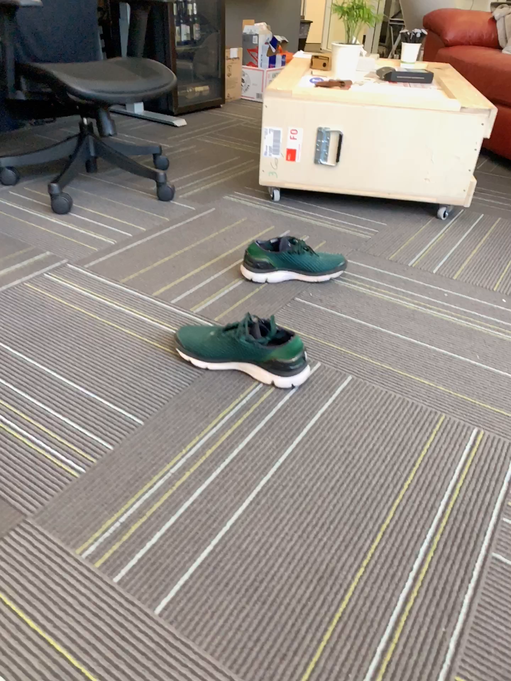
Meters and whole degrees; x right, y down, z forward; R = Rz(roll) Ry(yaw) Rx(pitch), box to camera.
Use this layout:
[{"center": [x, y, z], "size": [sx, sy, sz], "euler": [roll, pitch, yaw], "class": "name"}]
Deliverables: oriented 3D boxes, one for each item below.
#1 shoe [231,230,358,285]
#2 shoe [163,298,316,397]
[{"center": [0.101, -0.231, 1.424], "size": [0.320, 0.099, 0.121], "euler": [-3, 35, -9], "class": "shoe"}, {"center": [-0.036, 0.010, 1.095], "size": [0.300, 0.099, 0.100], "euler": [15, 36, 16], "class": "shoe"}]
